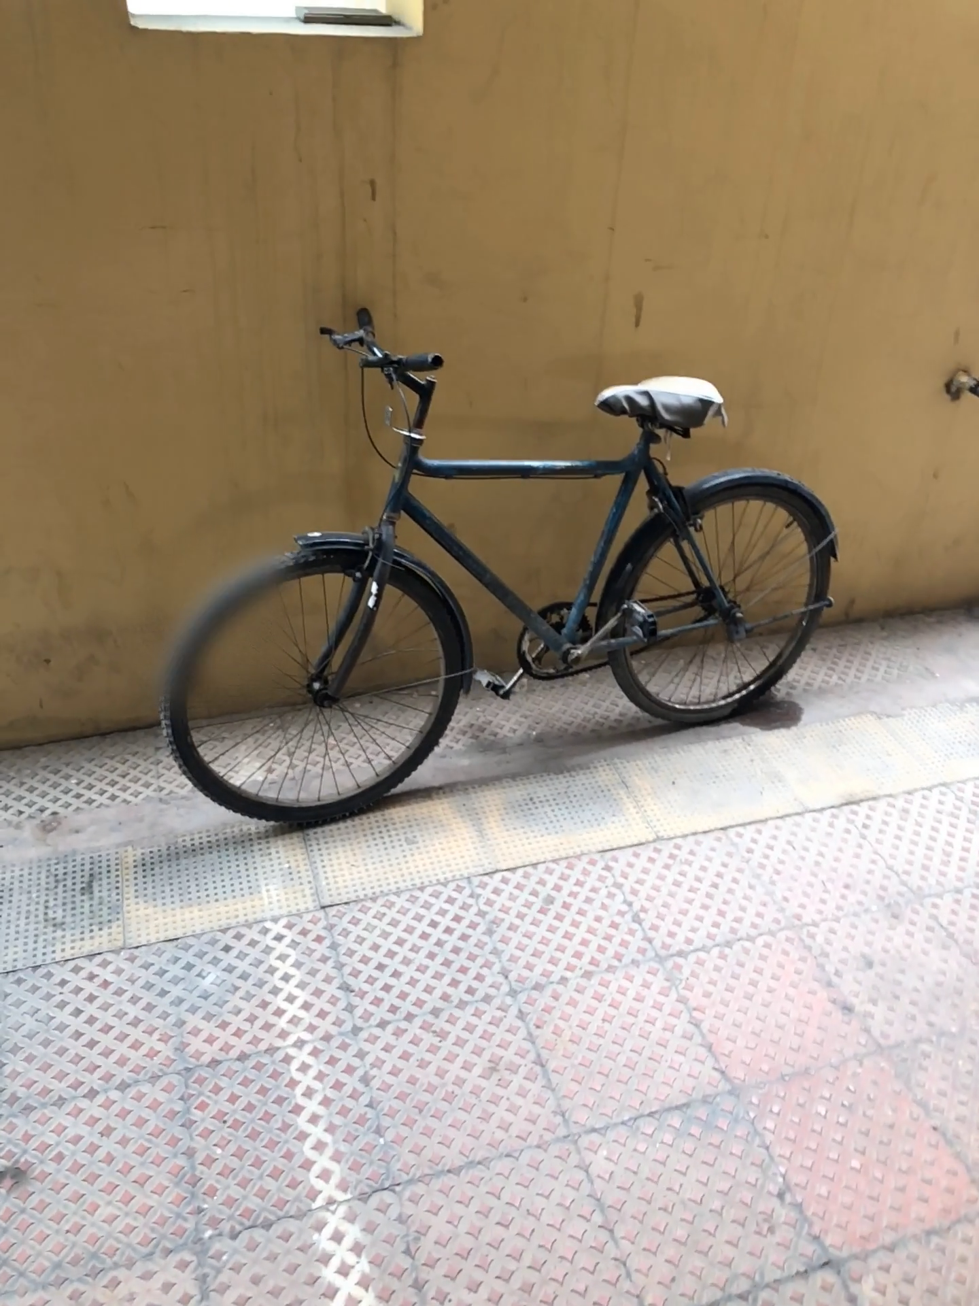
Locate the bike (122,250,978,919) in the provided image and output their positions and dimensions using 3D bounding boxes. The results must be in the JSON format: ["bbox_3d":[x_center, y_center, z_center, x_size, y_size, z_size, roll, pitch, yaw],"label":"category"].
[{"bbox_3d":[0.142,-0.207,2.144,1.547,0.999,0.543,-9,35,-23],"label":"bike"}]
